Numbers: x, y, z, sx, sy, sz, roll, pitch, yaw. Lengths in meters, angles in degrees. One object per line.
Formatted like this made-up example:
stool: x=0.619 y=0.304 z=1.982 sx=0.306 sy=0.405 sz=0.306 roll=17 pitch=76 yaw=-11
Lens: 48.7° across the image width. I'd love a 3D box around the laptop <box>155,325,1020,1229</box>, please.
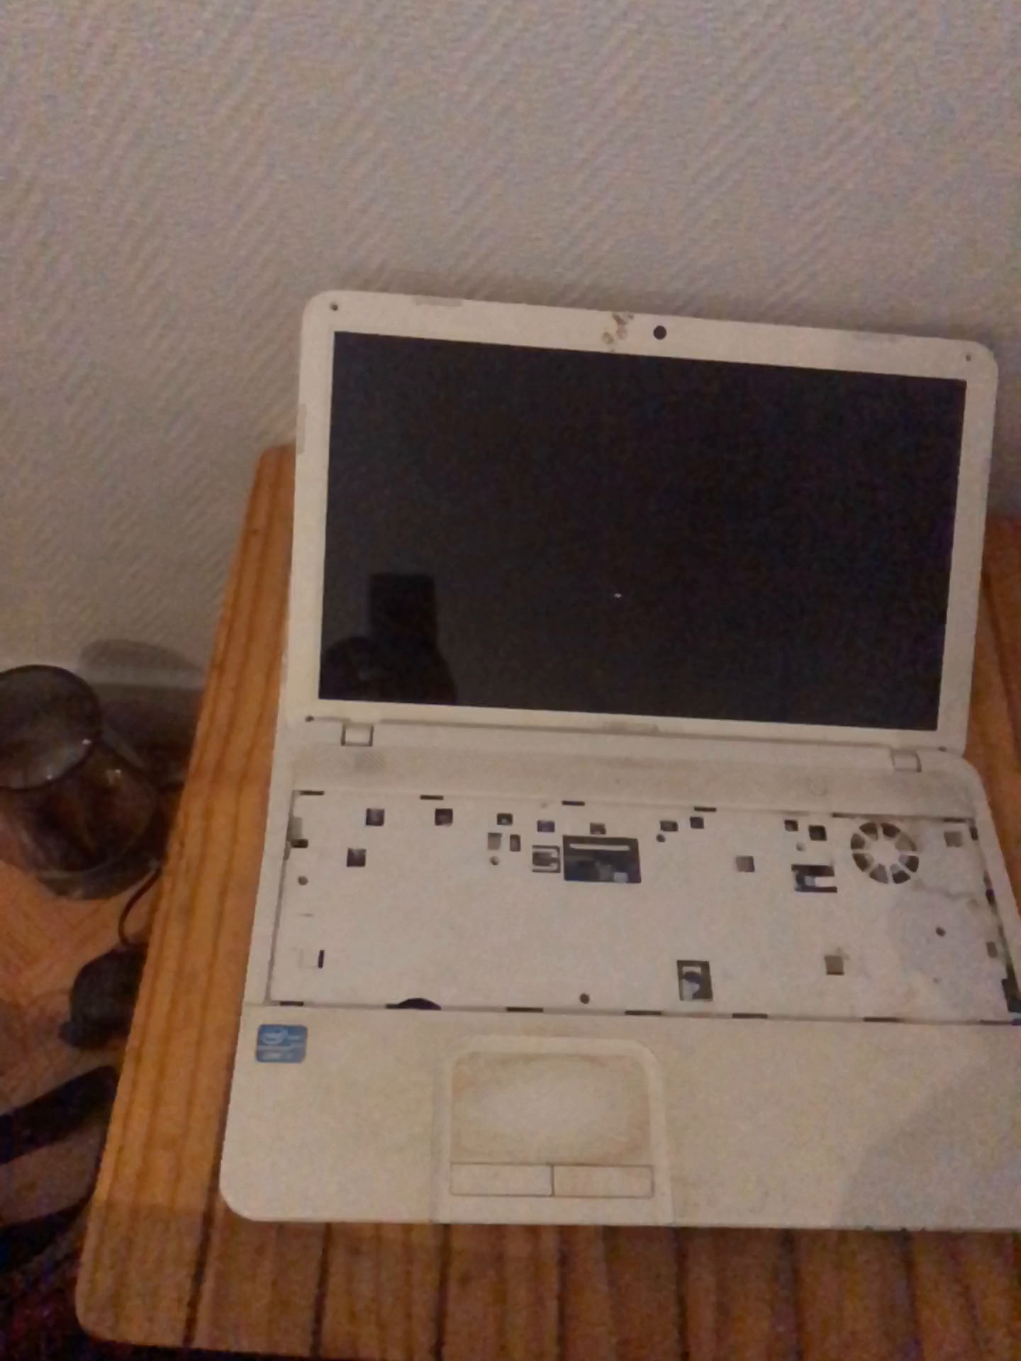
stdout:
laptop: x=0.067 y=0.022 z=0.543 sx=0.371 sy=0.118 sz=0.419 roll=3 pitch=55 yaw=-4
